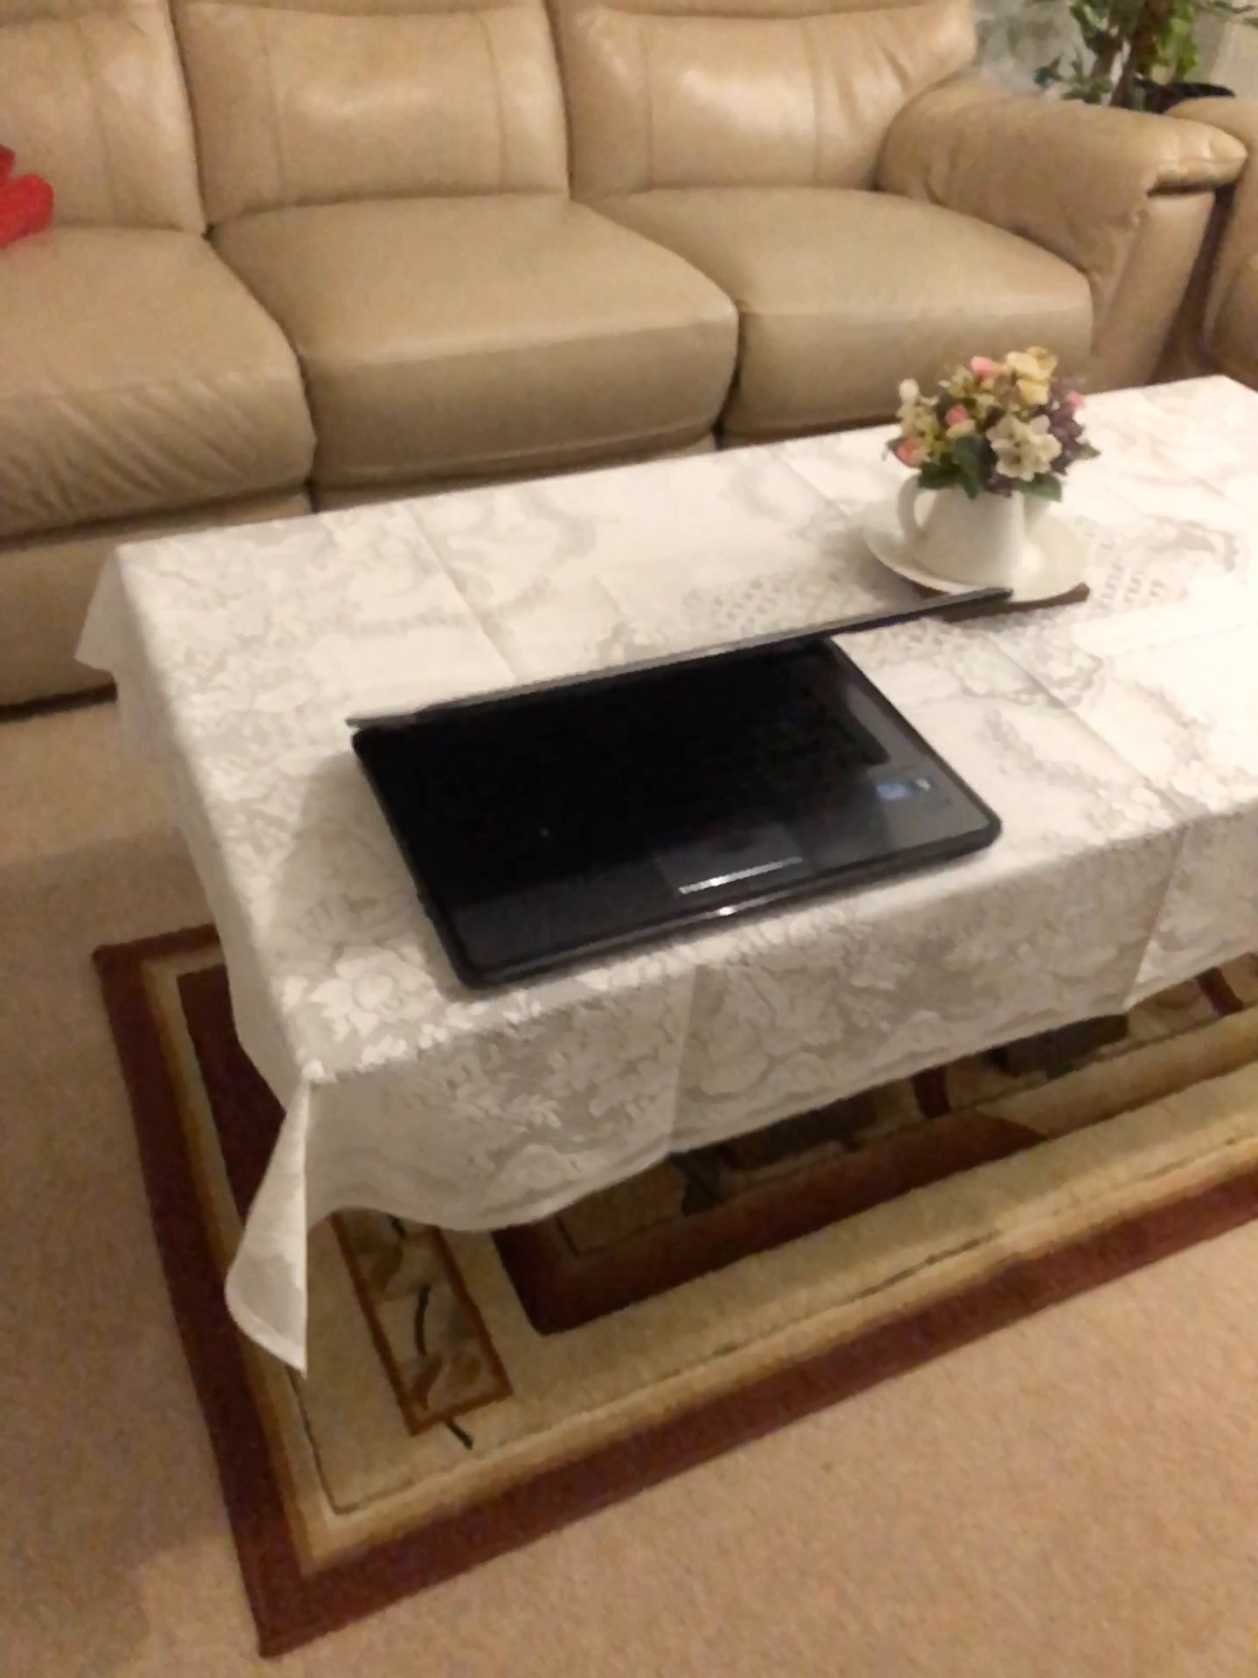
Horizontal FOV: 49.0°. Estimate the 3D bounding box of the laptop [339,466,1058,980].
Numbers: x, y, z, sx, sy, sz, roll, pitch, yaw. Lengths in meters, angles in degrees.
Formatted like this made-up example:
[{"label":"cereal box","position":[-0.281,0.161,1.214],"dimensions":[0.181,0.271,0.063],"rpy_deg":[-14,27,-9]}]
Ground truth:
[{"label":"laptop","position":[0.033,-0.091,0.871],"dimensions":[0.360,0.139,0.238],"rpy_deg":[-15,45,-20]}]
